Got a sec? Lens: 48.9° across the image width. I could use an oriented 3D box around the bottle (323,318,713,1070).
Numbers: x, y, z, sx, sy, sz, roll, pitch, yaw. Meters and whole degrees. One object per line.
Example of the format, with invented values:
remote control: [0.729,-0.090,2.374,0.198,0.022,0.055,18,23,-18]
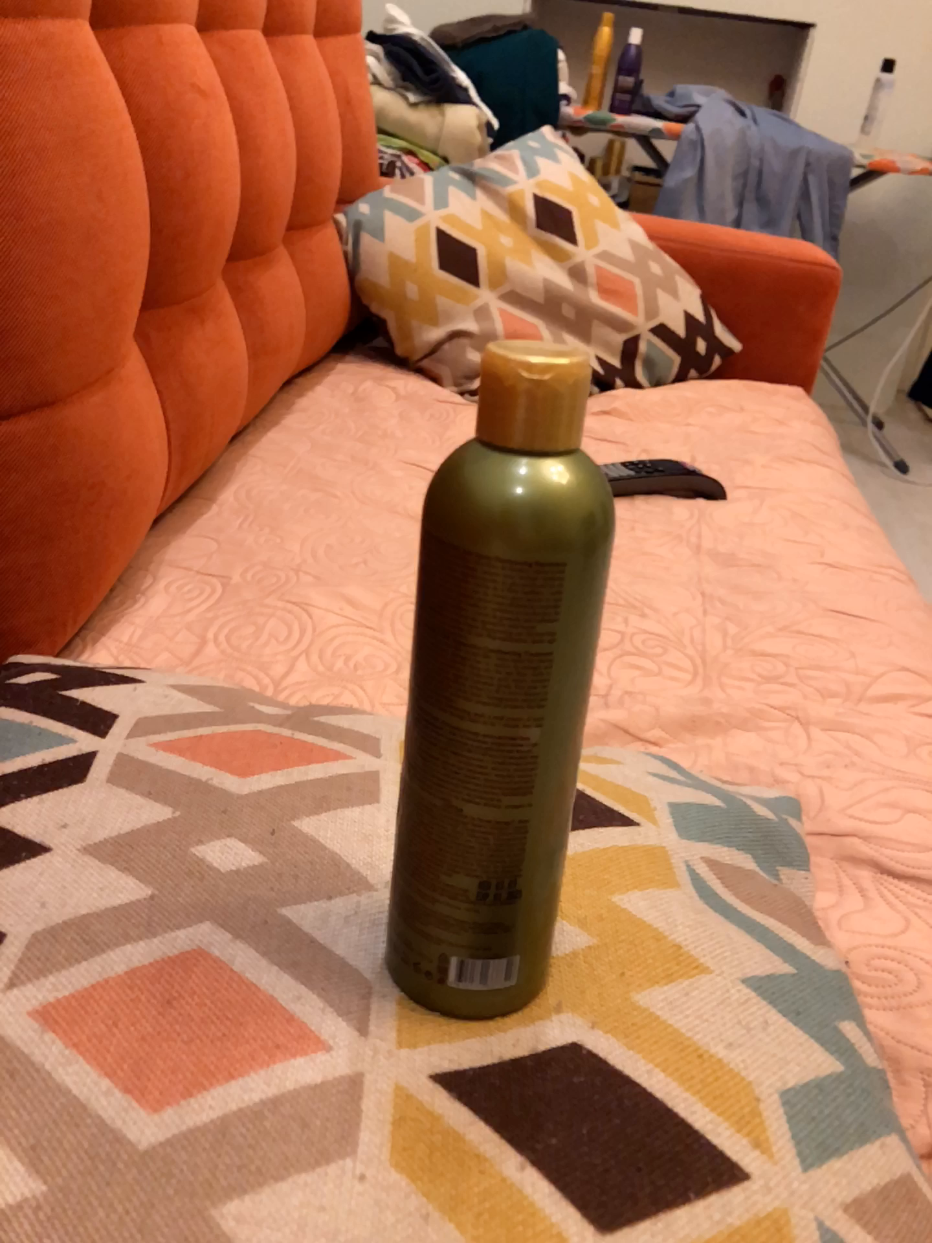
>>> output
bottle: [0.010,0.018,0.276,0.060,0.179,0.070,18,27,25]
